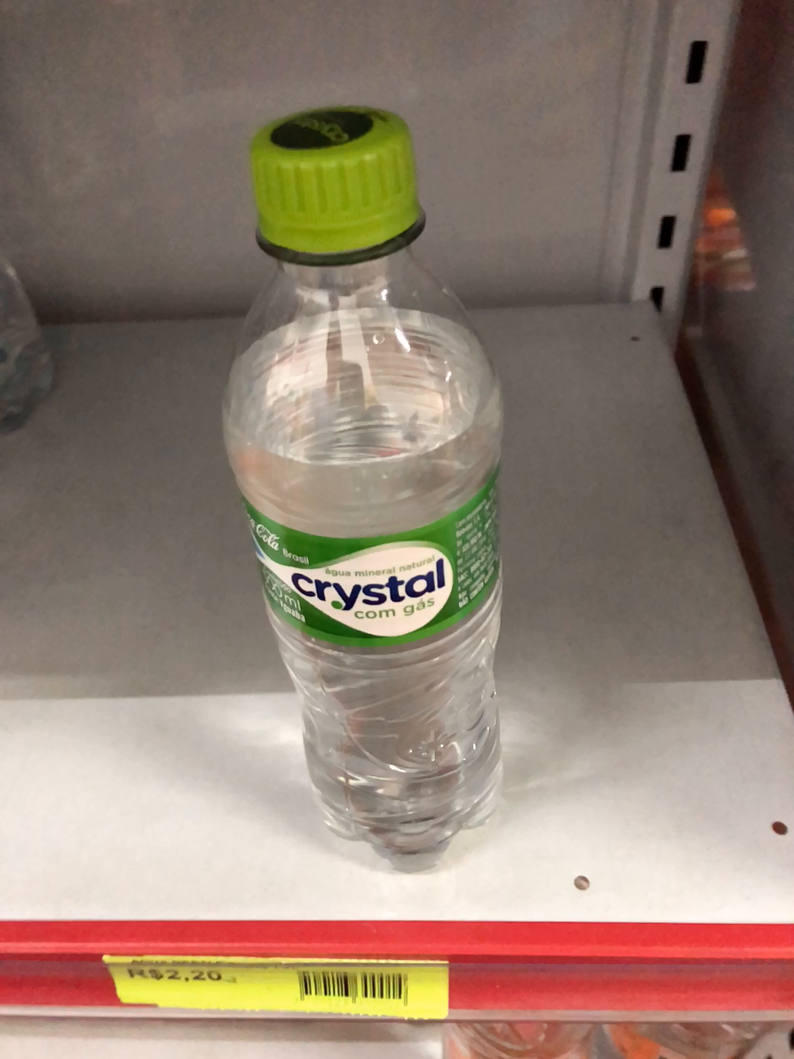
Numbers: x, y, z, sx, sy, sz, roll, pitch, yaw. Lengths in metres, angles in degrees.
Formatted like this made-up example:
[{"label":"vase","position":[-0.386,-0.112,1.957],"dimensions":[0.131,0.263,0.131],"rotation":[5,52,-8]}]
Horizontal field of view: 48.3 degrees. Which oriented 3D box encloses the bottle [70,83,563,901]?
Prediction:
[{"label":"bottle","position":[-0.003,0.016,0.222],"dimensions":[0.070,0.219,0.060],"rotation":[1,45,6]}]
